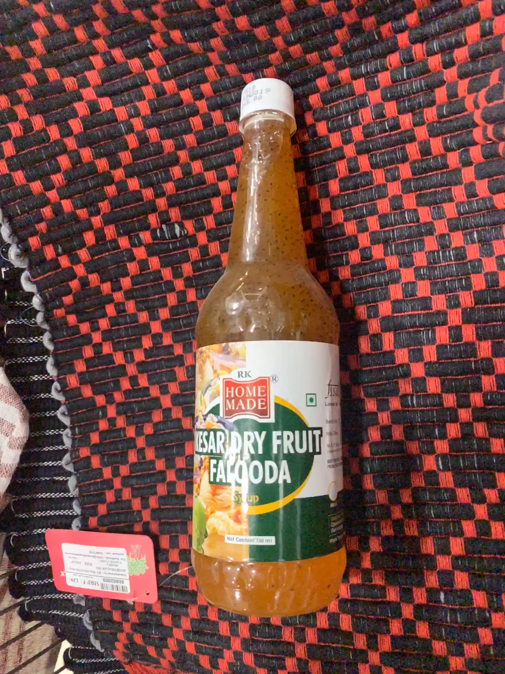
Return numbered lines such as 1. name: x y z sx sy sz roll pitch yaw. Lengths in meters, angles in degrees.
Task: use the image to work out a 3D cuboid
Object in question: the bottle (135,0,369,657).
1. bottle: 0.002 -0.013 0.244 0.080 0.070 0.260 -4 81 25
